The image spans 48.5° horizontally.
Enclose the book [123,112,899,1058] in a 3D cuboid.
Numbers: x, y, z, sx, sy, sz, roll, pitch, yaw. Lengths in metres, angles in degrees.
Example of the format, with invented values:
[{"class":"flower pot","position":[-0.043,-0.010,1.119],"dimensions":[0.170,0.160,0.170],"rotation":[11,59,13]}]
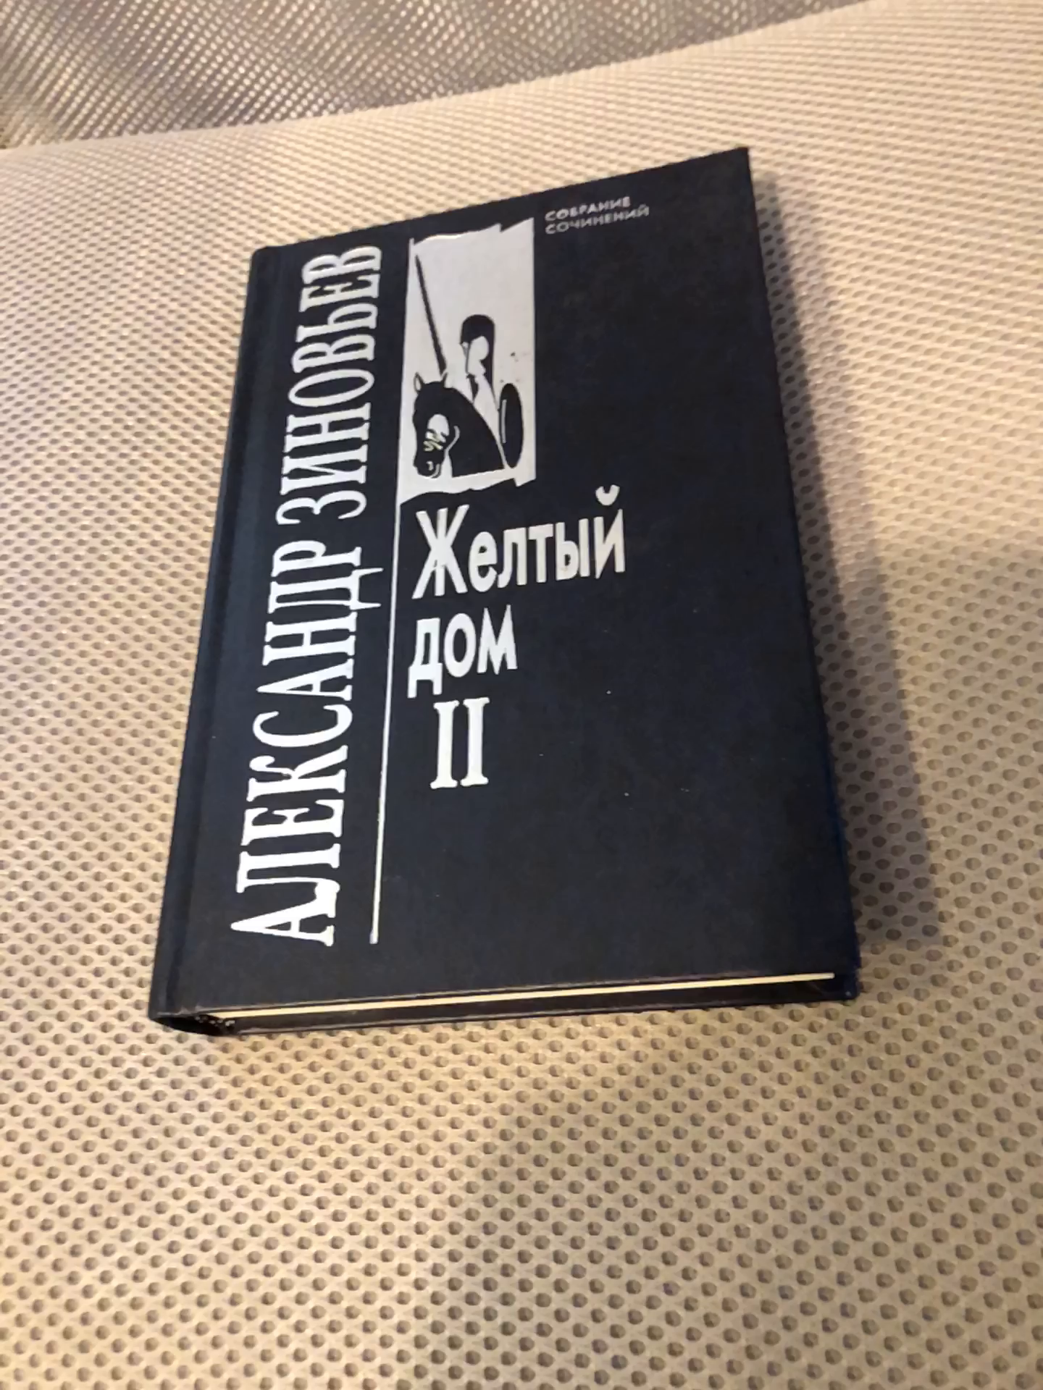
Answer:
[{"class":"book","position":[-0.004,-0.033,0.262],"dimensions":[0.140,0.030,0.211],"rotation":[-7,63,12]}]
